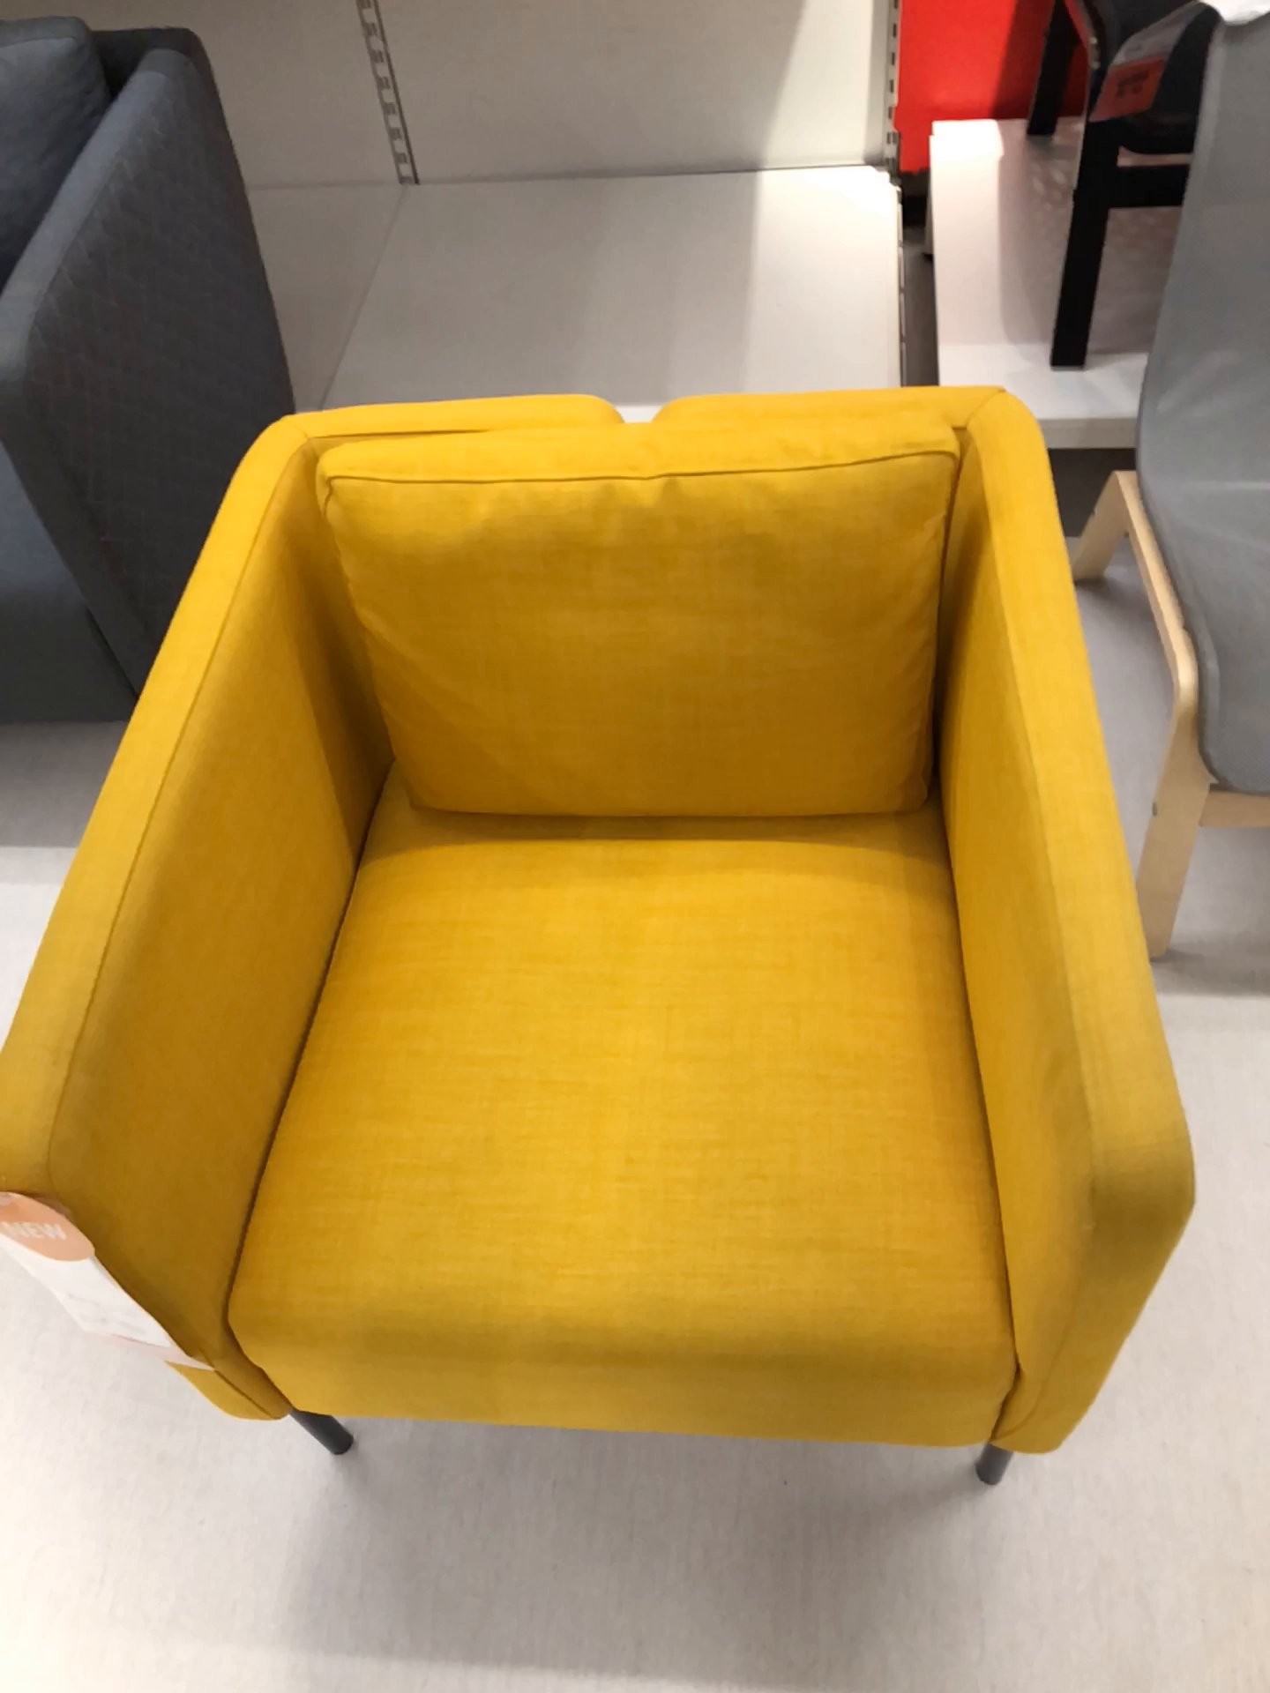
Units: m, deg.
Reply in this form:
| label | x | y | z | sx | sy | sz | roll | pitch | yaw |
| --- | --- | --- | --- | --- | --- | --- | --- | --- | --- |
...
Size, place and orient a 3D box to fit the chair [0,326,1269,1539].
| label | x | y | z | sx | sy | sz | roll | pitch | yaw |
| --- | --- | --- | --- | --- | --- | --- | --- | --- | --- |
| chair | 0.015 | 0.100 | 1.112 | 0.720 | 0.696 | 0.664 | 0 | 53 | 7 |
